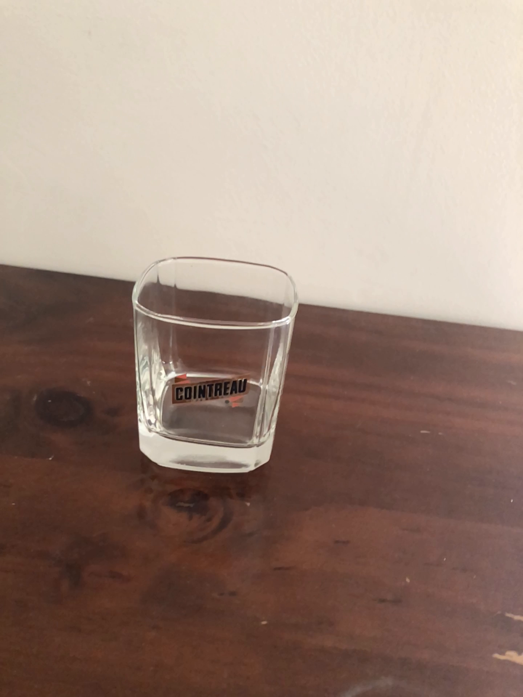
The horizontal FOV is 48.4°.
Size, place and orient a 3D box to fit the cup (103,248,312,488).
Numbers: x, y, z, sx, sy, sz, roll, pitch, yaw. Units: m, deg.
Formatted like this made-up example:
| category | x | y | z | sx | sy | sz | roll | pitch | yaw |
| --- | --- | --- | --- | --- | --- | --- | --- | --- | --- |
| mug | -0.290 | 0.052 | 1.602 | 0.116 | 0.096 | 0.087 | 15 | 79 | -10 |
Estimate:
| category | x | y | z | sx | sy | sz | roll | pitch | yaw |
| --- | --- | --- | --- | --- | --- | --- | --- | --- | --- |
| cup | -0.025 | 0.007 | 0.296 | 0.086 | 0.085 | 0.081 | 5 | 29 | -3 |
